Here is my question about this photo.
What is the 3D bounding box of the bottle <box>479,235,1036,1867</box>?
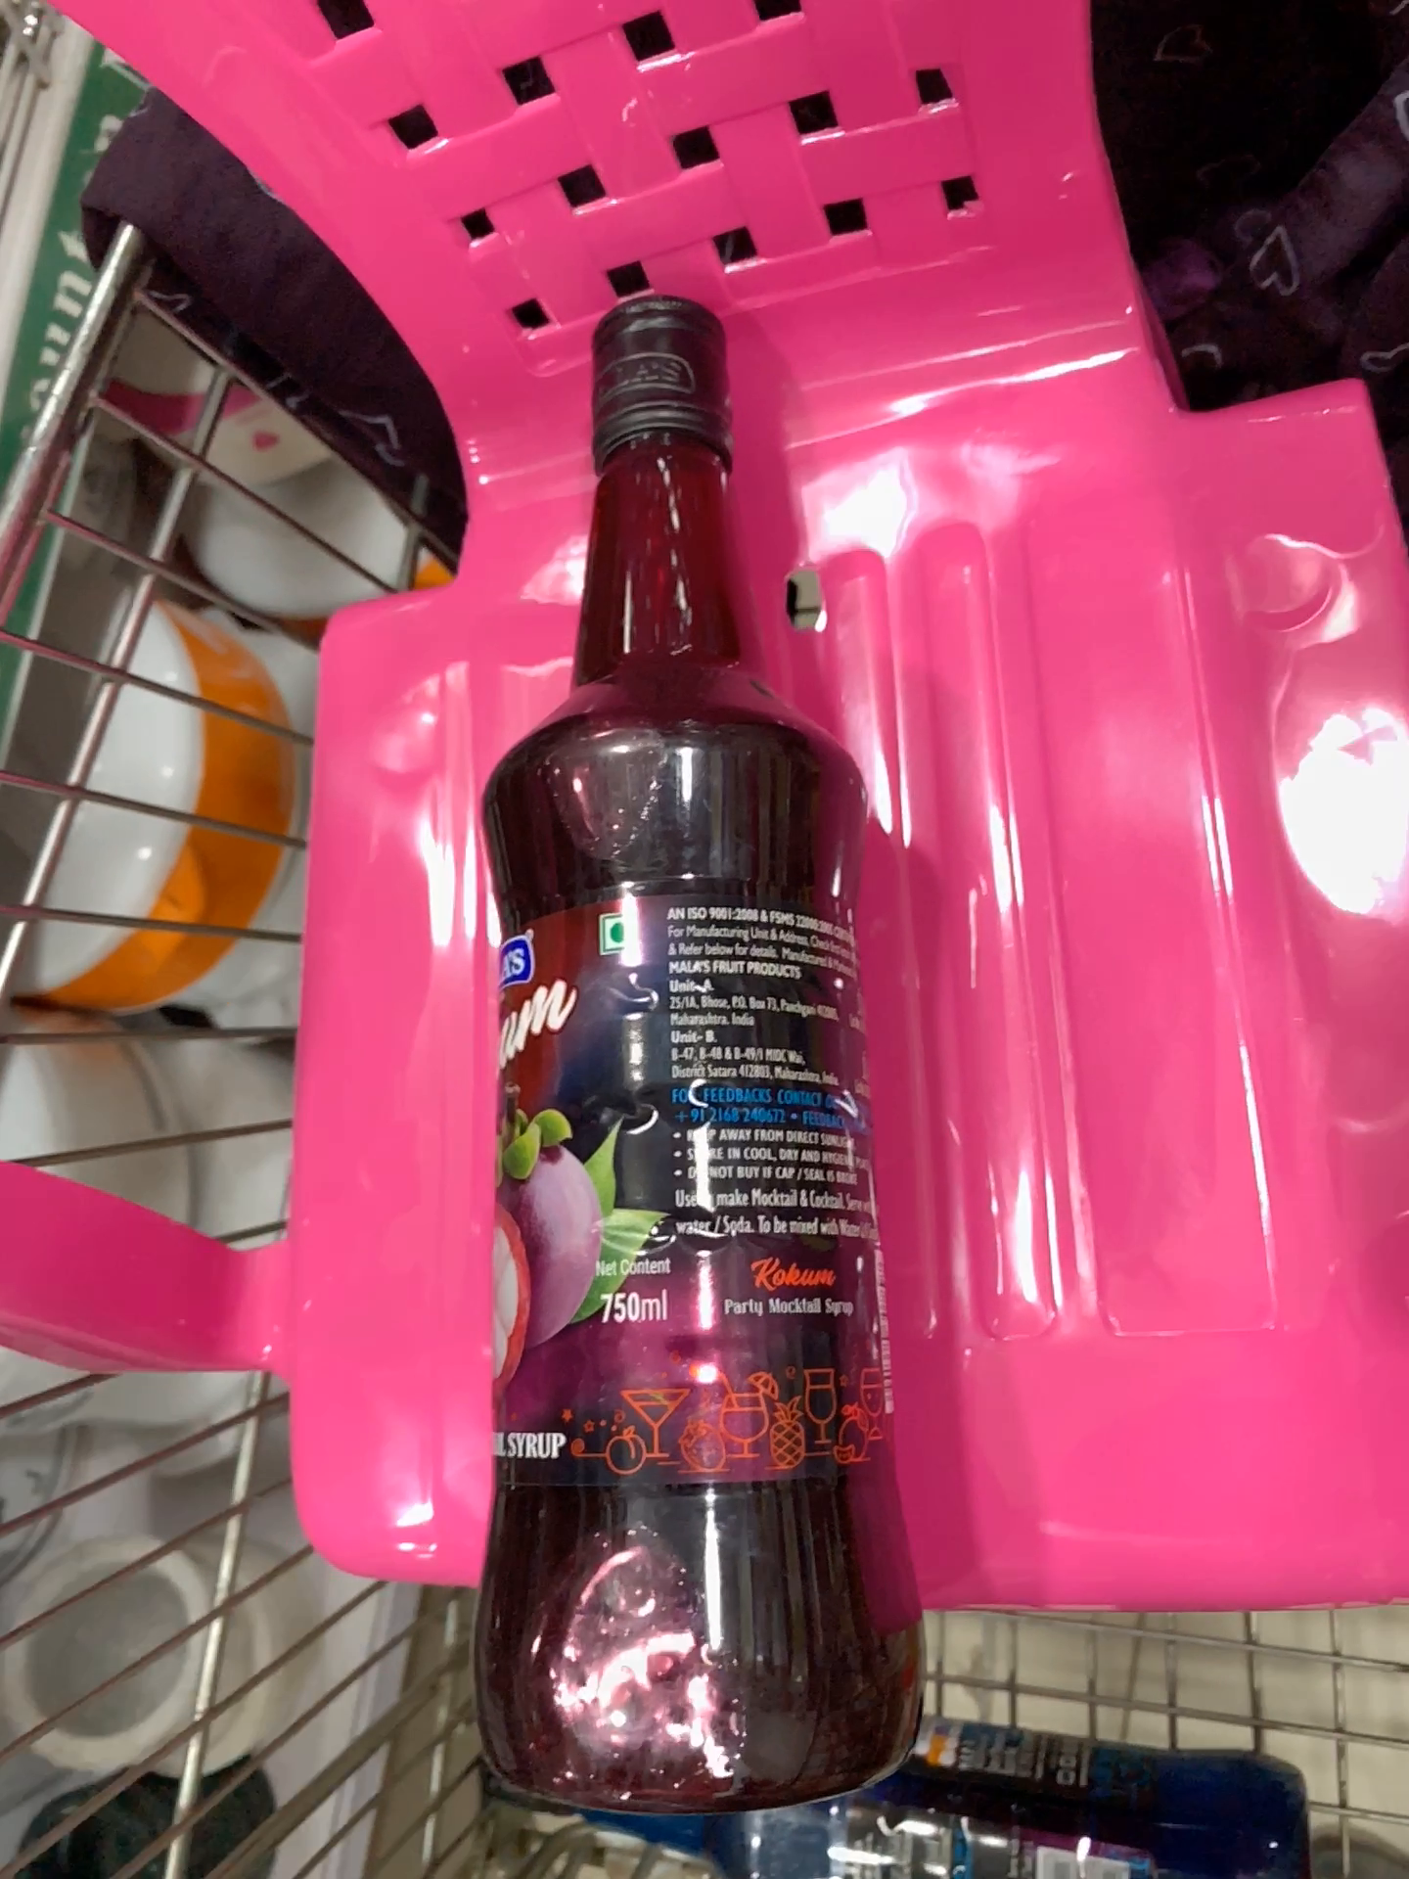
[{"bbox_3d":[-0.002,0.011,0.275,0.080,0.080,0.260,0,77,-8],"label":"bottle"}]
